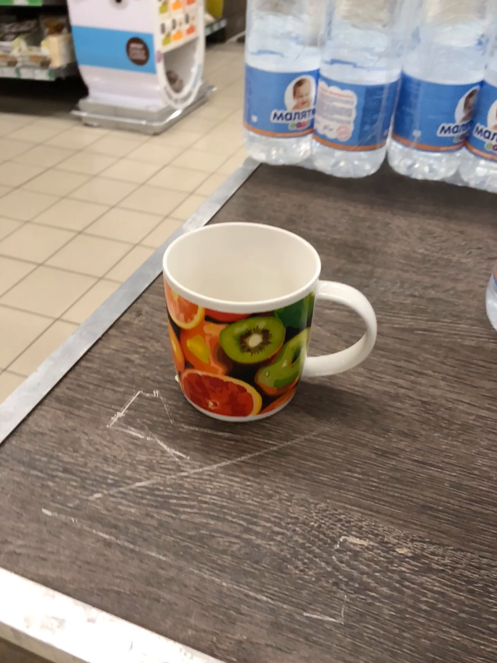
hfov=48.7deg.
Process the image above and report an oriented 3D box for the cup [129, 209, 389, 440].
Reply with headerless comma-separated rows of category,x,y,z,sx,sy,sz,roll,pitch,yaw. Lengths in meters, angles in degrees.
cup,0.010,-0.008,0.325,0.126,0.085,0.092,7,38,7
